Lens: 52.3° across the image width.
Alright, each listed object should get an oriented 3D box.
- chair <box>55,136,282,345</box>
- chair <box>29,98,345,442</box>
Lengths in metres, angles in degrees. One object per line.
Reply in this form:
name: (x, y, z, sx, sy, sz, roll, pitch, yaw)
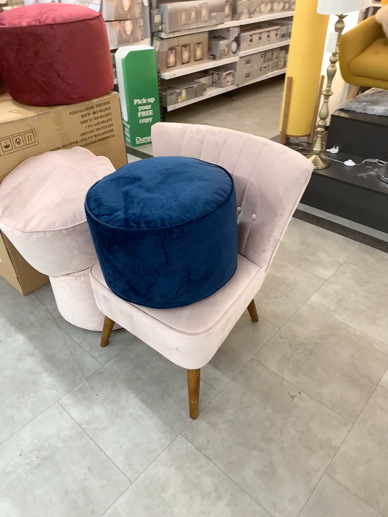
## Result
chair: (-0.072, -0.106, 1.313, 0.477, 0.363, 0.506, 29, 46, 34)
chair: (0.005, -0.024, 1.481, 0.658, 0.848, 0.748, 26, 44, 32)
